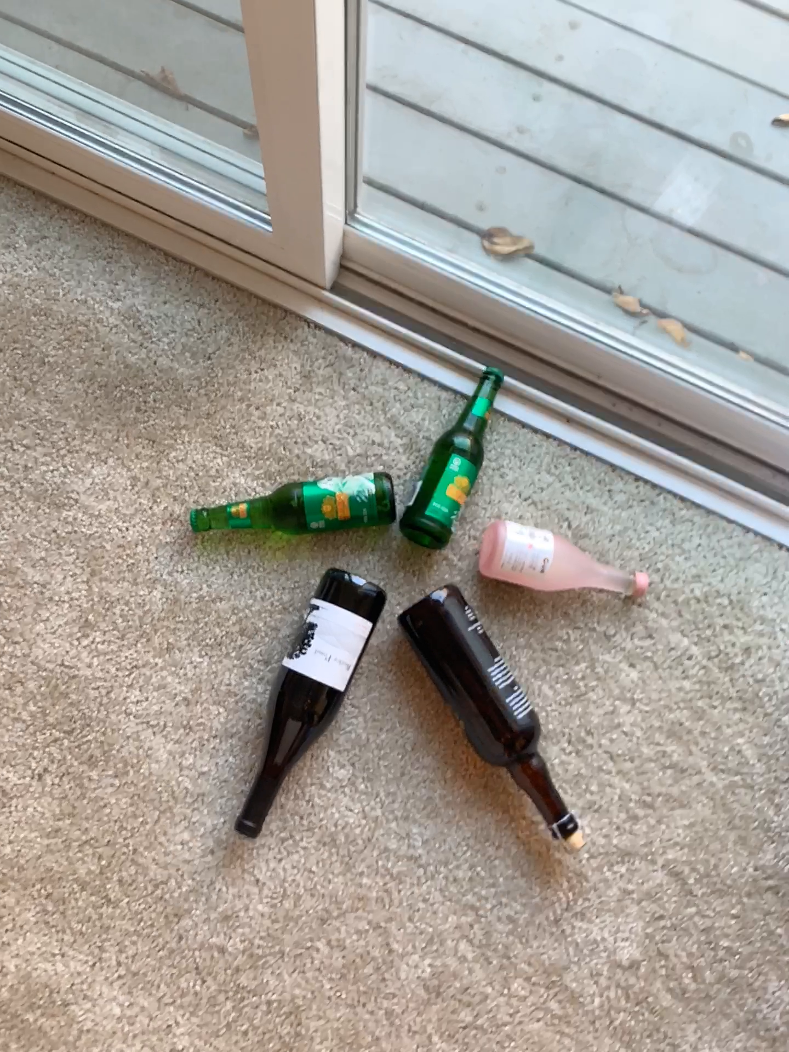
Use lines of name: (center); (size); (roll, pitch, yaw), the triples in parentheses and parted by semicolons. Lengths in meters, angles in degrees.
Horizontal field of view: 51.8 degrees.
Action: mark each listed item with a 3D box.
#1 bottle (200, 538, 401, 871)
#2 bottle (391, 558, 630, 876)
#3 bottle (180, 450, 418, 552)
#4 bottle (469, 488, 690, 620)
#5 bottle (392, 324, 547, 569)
bottle: (-0.090, 0.177, 0.834); (0.080, 0.090, 0.310); (21, 73, 2)
bottle: (0.111, 0.194, 0.851); (0.080, 0.090, 0.310); (-29, 76, -10)
bottle: (-0.103, -0.026, 0.887); (0.240, 0.090, 0.070); (-5, 76, -7)
bottle: (0.198, 0.033, 0.892); (0.210, 0.090, 0.080); (13, 75, 3)
bottle: (0.083, -0.088, 0.922); (0.080, 0.090, 0.250); (23, 77, 3)
